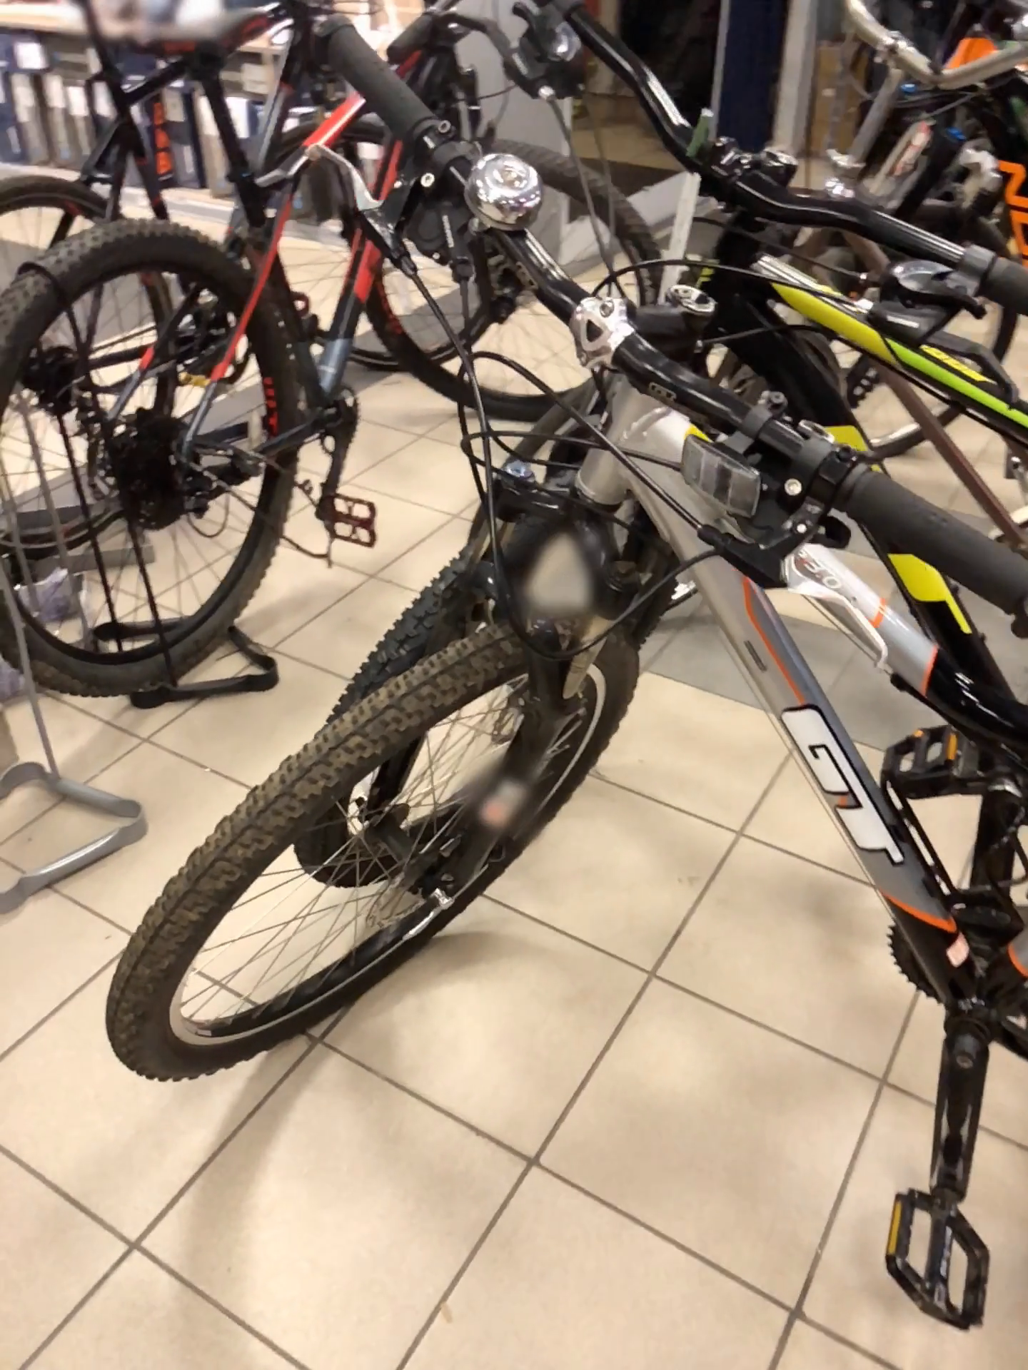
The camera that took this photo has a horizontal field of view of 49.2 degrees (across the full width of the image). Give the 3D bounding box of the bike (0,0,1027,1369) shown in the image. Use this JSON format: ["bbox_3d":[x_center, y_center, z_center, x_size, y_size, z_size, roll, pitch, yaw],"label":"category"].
[{"bbox_3d":[0.397,0.155,0.744,1.425,1.012,0.628,9,36,7],"label":"bike"}]
